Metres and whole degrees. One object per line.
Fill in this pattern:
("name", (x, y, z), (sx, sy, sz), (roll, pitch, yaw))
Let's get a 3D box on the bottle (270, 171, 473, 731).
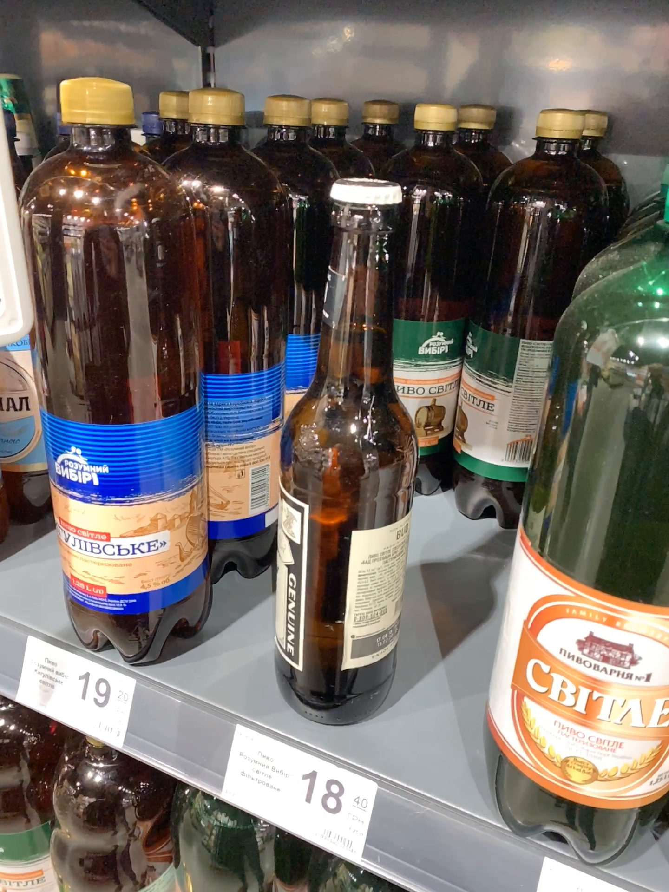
("bottle", (0.005, 0.013, 0.325), (0.070, 0.258, 0.064), (2, 26, -1))
